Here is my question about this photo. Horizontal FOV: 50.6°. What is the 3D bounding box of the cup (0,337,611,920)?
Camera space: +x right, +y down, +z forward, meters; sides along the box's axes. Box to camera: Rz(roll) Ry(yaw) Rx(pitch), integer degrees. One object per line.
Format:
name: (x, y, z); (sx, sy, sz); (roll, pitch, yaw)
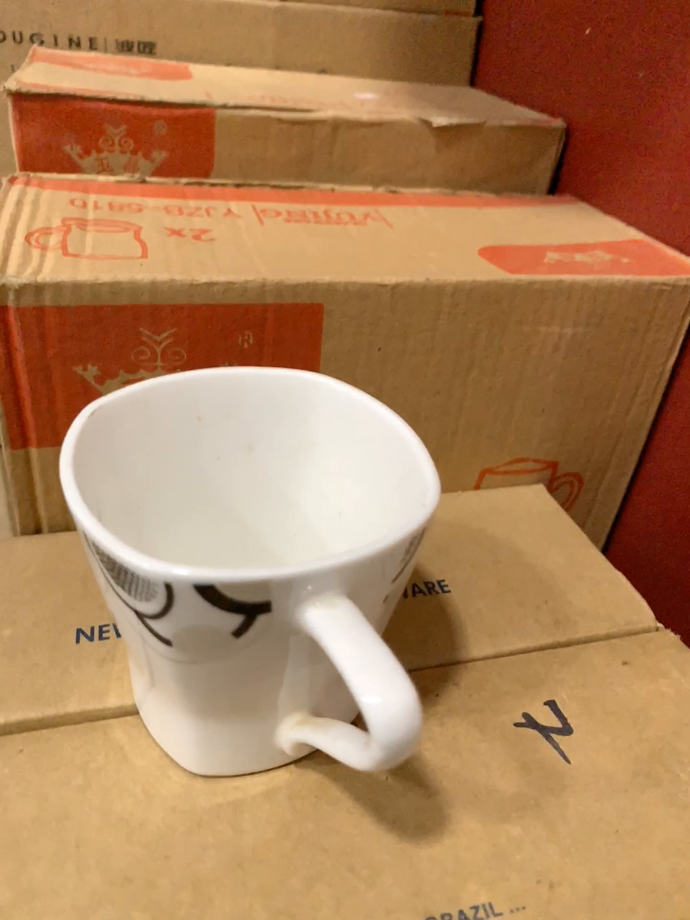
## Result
cup: (-0.016, 0.028, 0.130); (0.060, 0.060, 0.091); (-15, 38, -29)
